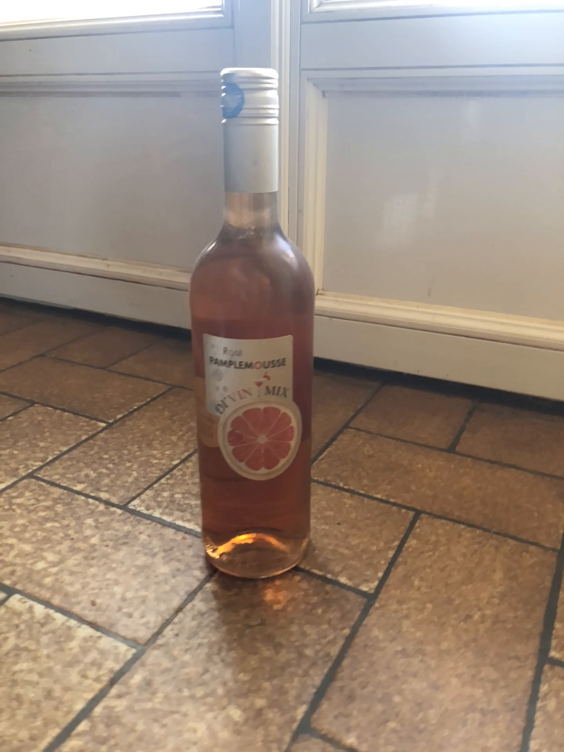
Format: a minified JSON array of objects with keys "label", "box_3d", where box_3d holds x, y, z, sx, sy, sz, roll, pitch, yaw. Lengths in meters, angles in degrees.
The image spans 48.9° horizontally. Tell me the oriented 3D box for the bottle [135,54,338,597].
[{"label":"bottle","box_3d":[-0.018,-0.020,0.358,0.080,0.288,0.080,0,23,0]}]
